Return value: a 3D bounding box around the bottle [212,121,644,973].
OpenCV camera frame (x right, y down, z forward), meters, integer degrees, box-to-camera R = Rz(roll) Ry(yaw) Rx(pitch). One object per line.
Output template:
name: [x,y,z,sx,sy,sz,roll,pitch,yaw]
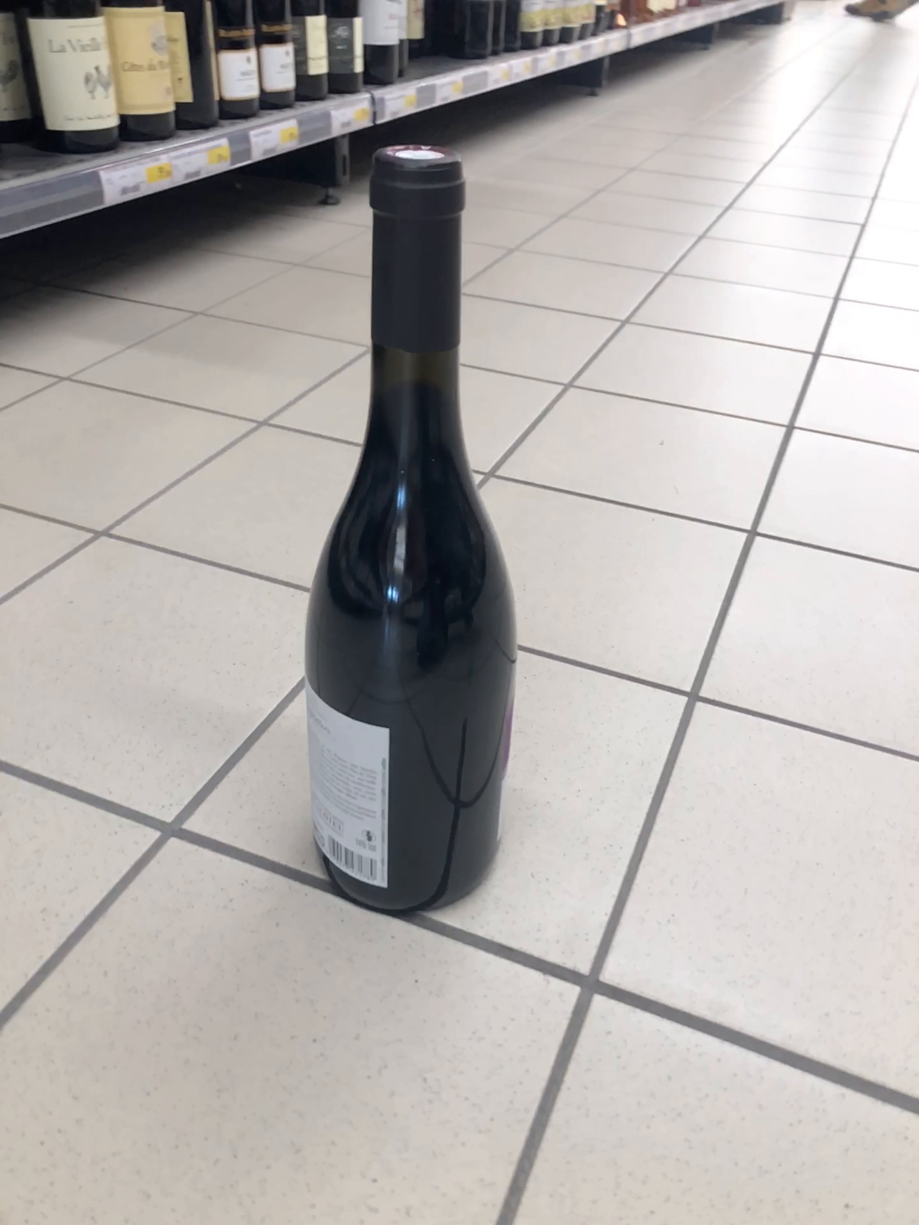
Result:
bottle: [-0.017,-0.013,0.371,0.090,0.288,0.090,2,33,-1]
